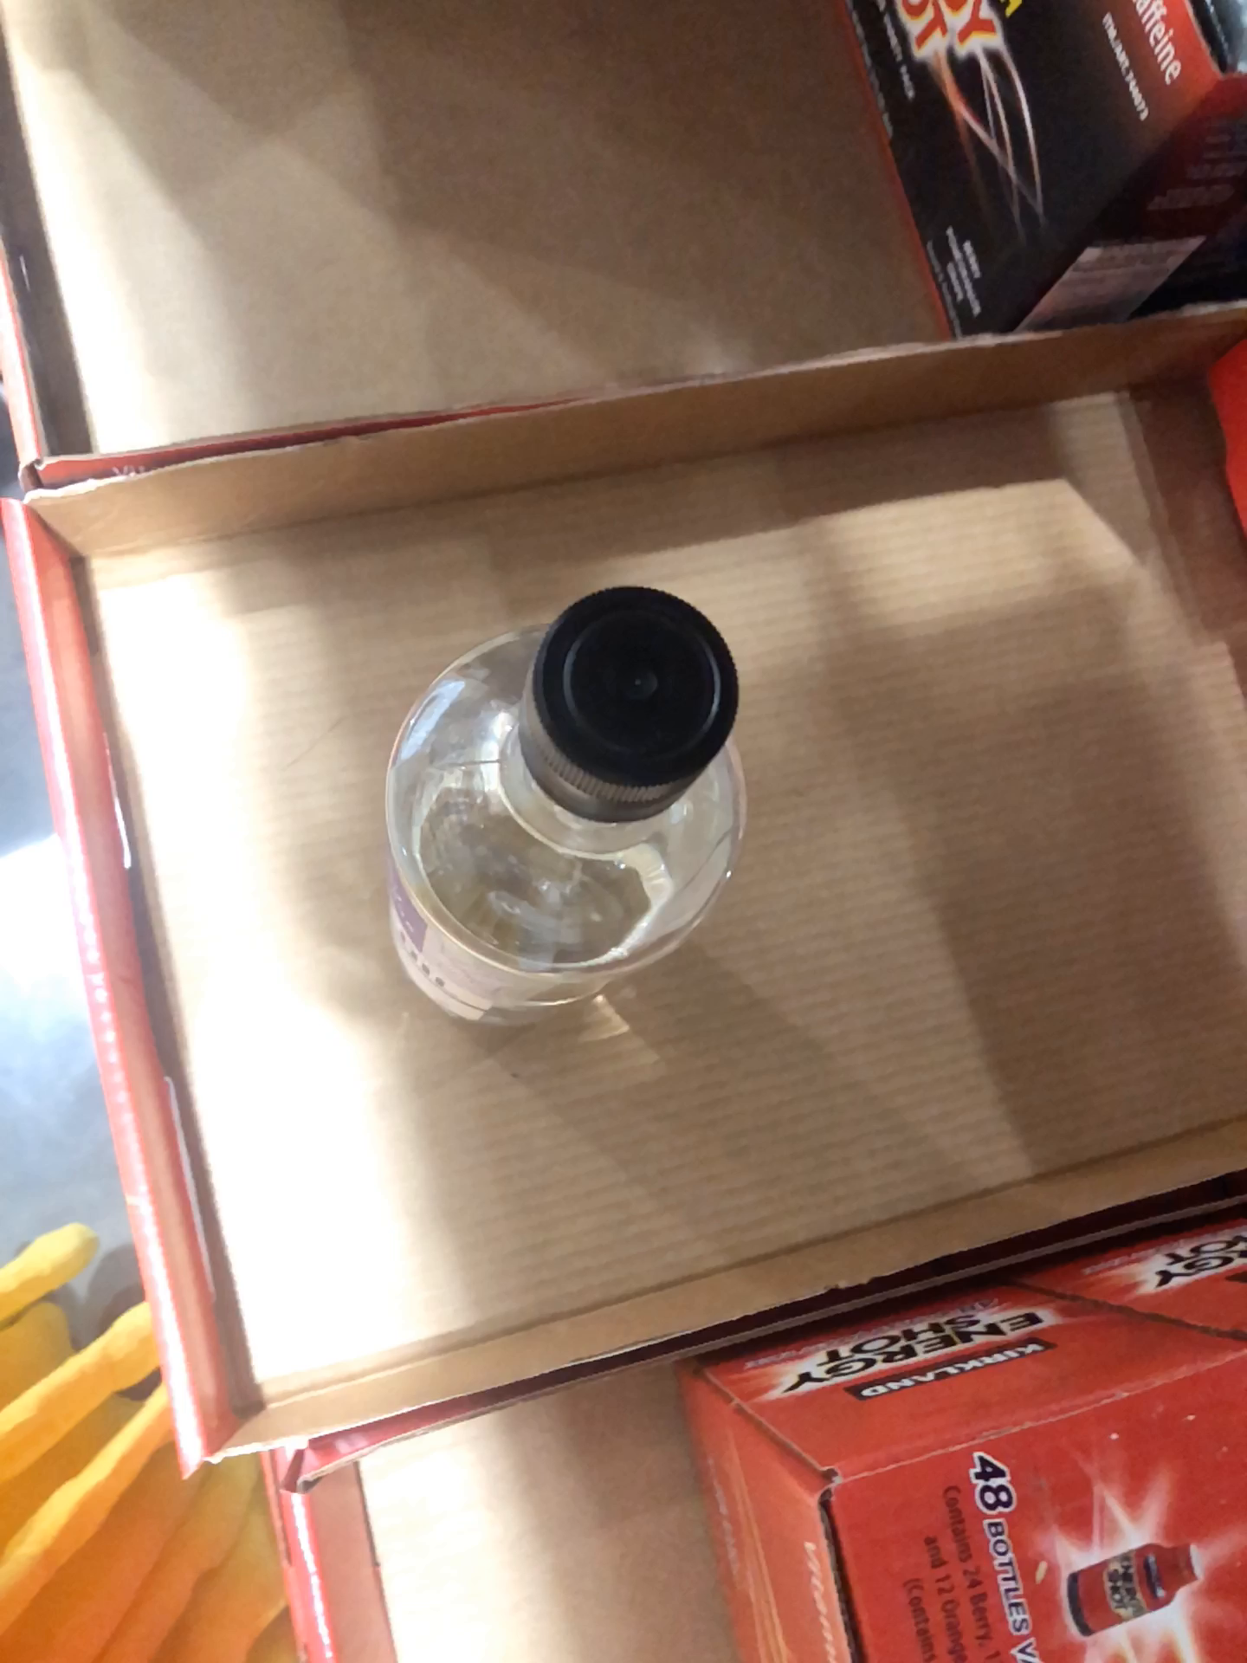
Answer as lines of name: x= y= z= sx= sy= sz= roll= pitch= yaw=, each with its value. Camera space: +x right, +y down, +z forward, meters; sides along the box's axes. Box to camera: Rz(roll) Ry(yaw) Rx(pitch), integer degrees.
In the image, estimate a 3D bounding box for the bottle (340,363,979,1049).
bottle: x=-0.019 y=0.000 z=0.345 sx=0.080 sy=0.291 sz=0.077 roll=2 pitch=78 yaw=-10
